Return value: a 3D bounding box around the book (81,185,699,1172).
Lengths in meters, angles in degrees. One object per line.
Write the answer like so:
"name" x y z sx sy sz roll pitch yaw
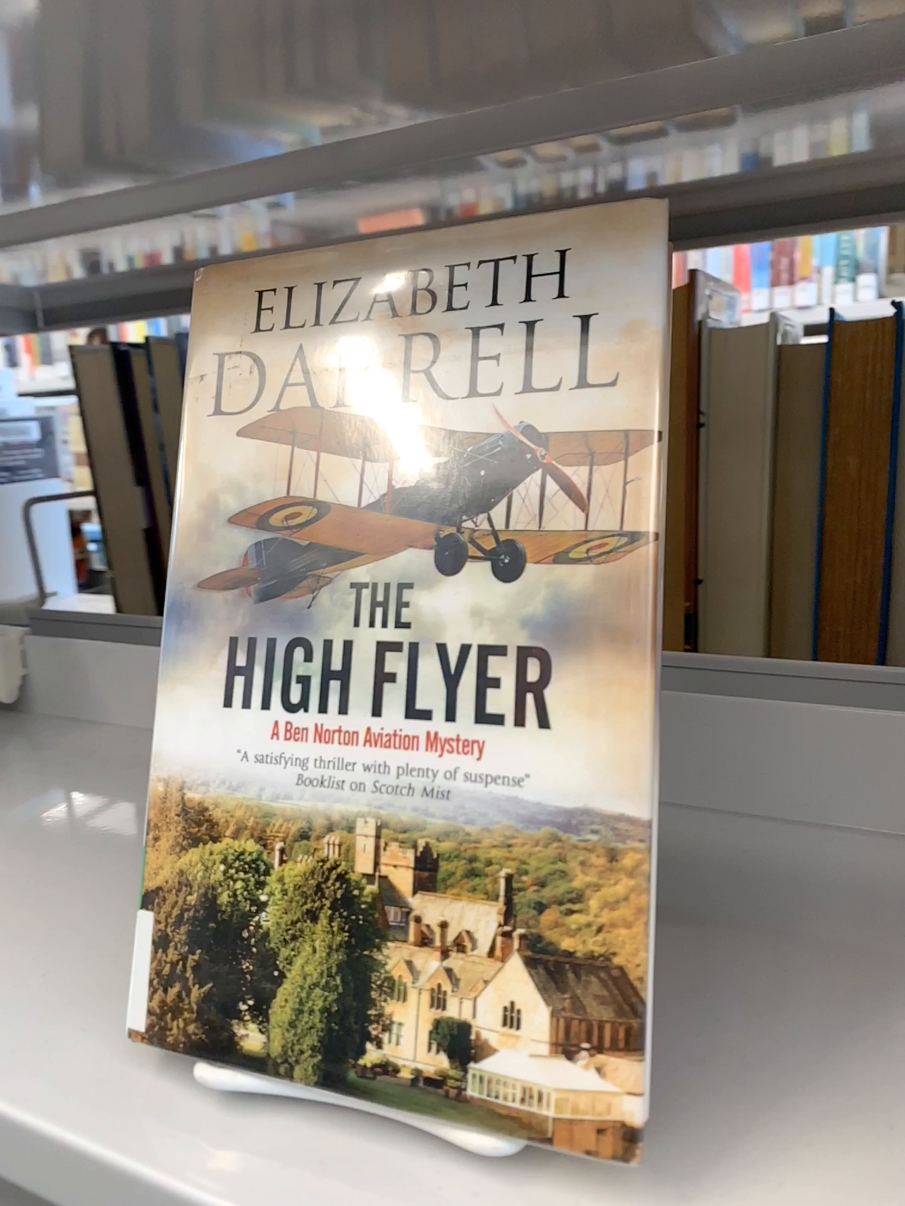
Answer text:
"book" -0.017 0.011 0.246 0.151 0.215 0.031 1 -6 21
